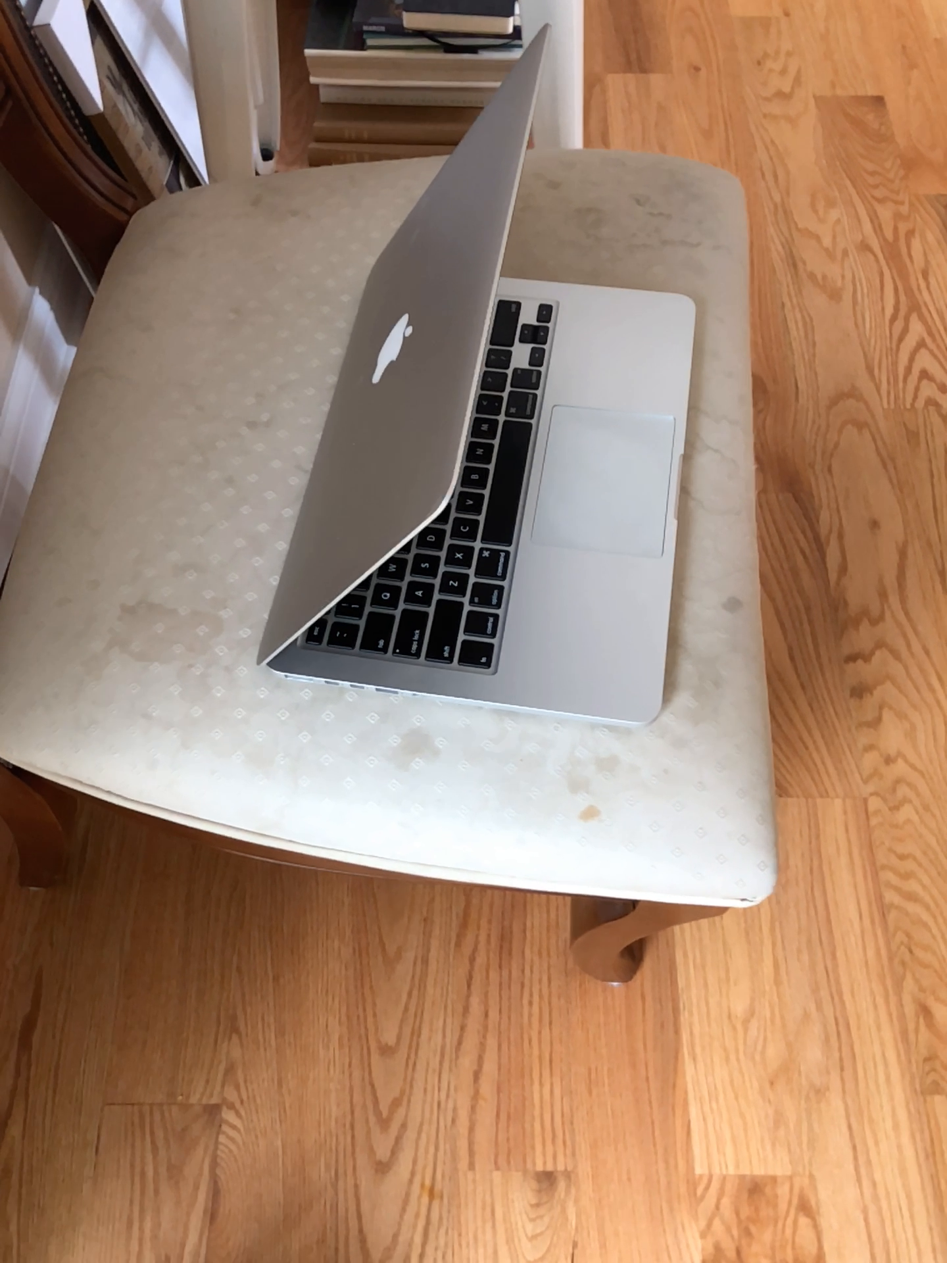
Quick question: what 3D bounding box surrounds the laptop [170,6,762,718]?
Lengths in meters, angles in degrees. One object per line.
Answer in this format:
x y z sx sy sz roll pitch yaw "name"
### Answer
0.014 -0.144 0.552 0.218 0.183 0.310 7 62 6 "laptop"
